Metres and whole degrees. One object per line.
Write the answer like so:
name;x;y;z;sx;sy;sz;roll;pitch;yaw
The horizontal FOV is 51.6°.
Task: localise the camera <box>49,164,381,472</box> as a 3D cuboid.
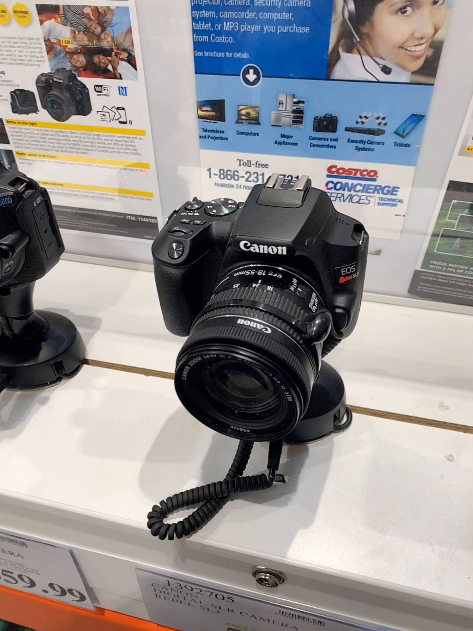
camera;0.002;-0.007;0.244;0.120;0.089;0.111;7;41;14
